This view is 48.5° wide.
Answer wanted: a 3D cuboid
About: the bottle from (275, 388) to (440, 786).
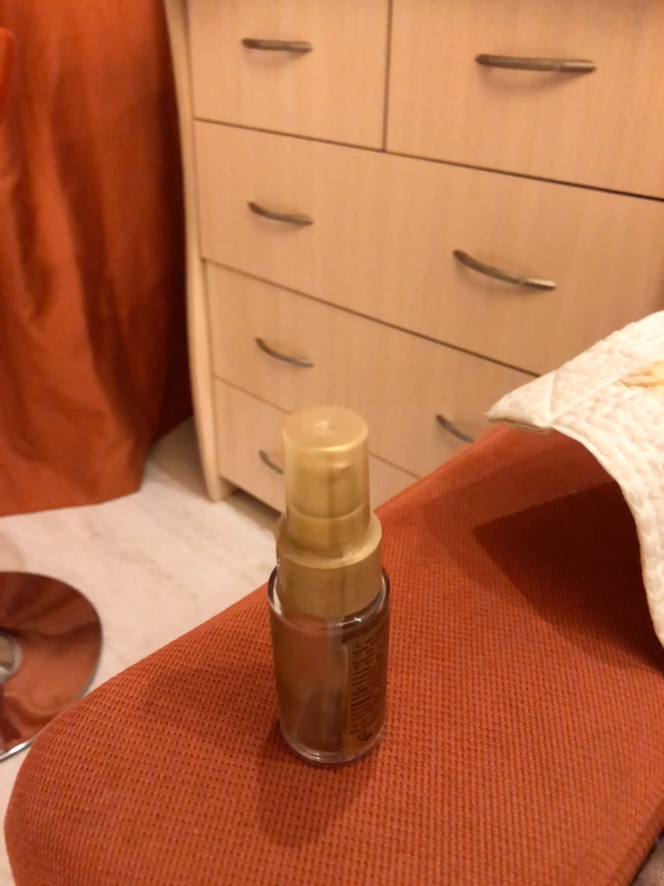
[{"bbox_3d":[0.004,0.042,0.201,0.033,0.106,0.034,1,29,-1],"label":"bottle"}]
